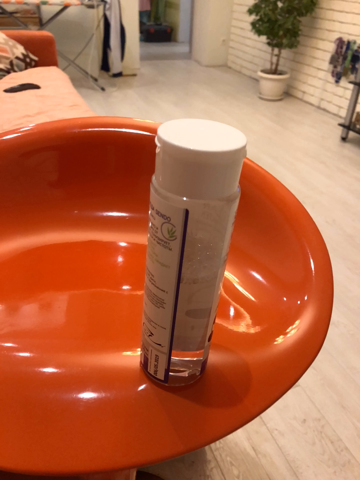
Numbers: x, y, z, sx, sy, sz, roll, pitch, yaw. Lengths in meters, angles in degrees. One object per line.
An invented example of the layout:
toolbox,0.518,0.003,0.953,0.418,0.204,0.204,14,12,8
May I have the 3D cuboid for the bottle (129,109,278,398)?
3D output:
bottle,0.005,0.013,0.244,0.052,0.166,0.054,4,32,-3
